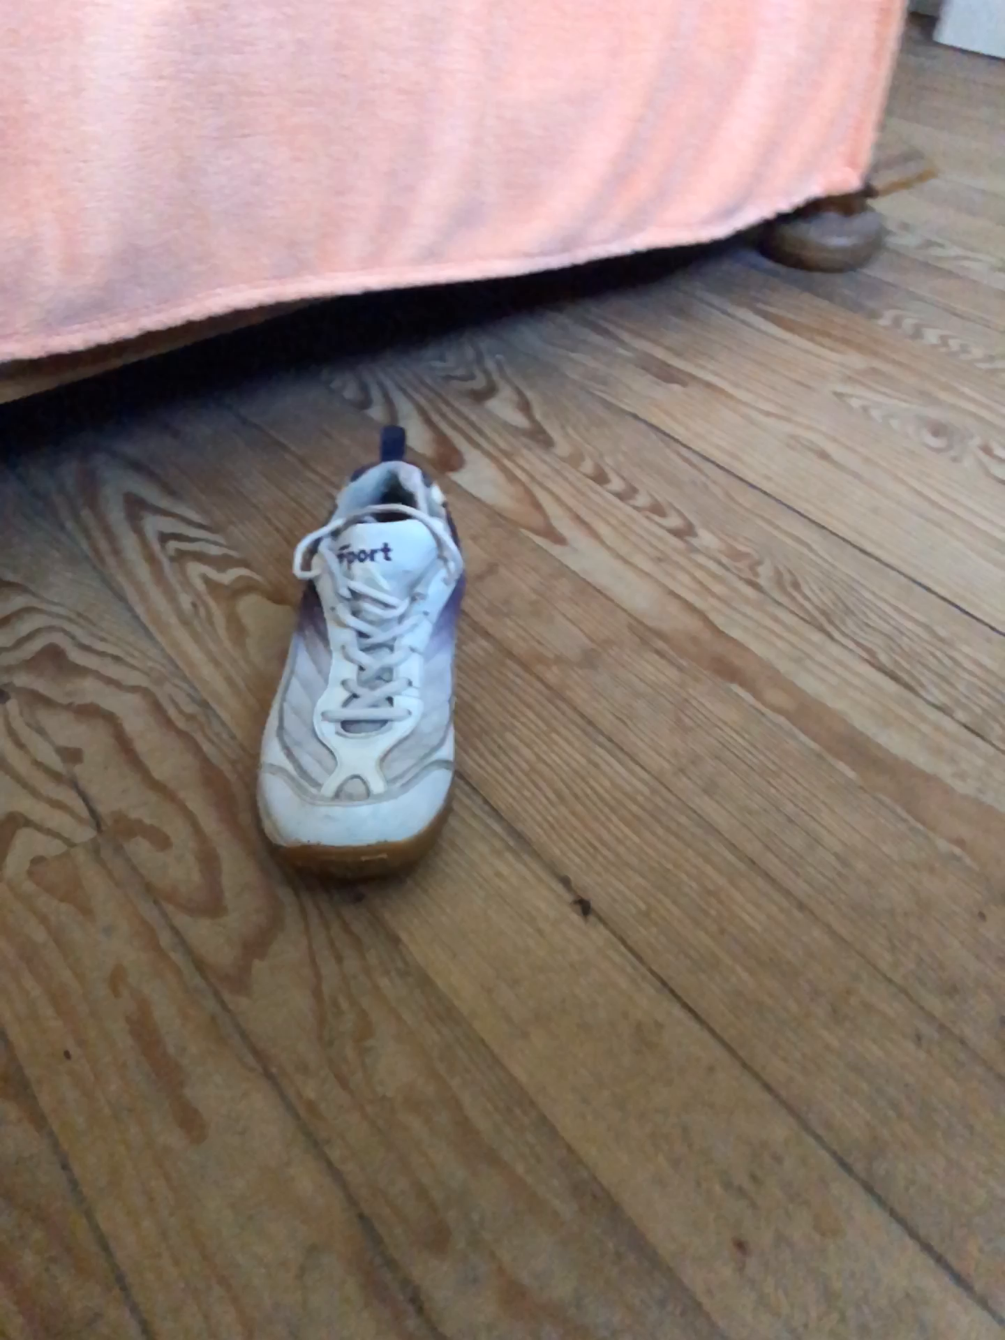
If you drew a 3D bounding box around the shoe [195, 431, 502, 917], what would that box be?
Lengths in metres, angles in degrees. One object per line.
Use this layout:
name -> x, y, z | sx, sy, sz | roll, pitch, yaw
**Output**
shoe -> -0.063, -0.012, 0.578 | 0.110, 0.099, 0.262 | 1, 43, 3
